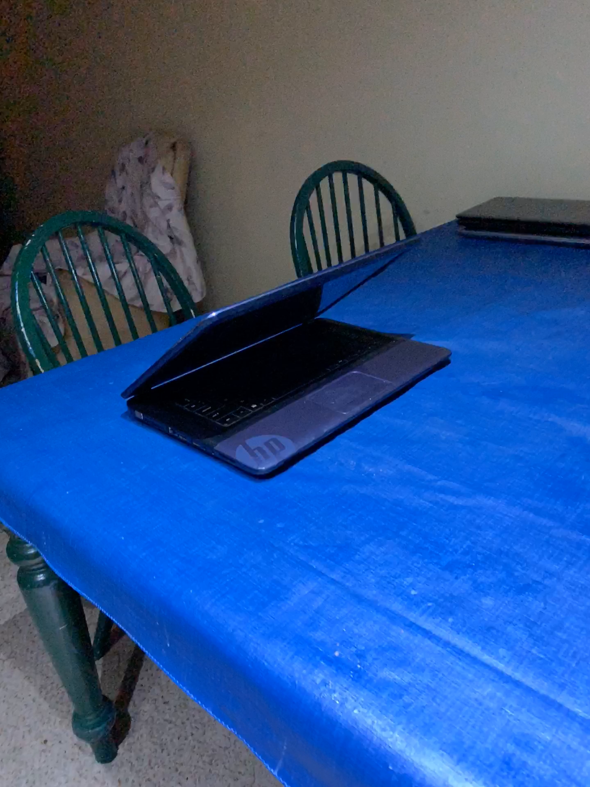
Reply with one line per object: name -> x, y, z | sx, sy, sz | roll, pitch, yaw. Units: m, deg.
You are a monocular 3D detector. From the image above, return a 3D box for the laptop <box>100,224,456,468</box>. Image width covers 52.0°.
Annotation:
laptop -> -0.003, -0.091, 0.750 | 0.240, 0.141, 0.364 | 20, 35, 39
